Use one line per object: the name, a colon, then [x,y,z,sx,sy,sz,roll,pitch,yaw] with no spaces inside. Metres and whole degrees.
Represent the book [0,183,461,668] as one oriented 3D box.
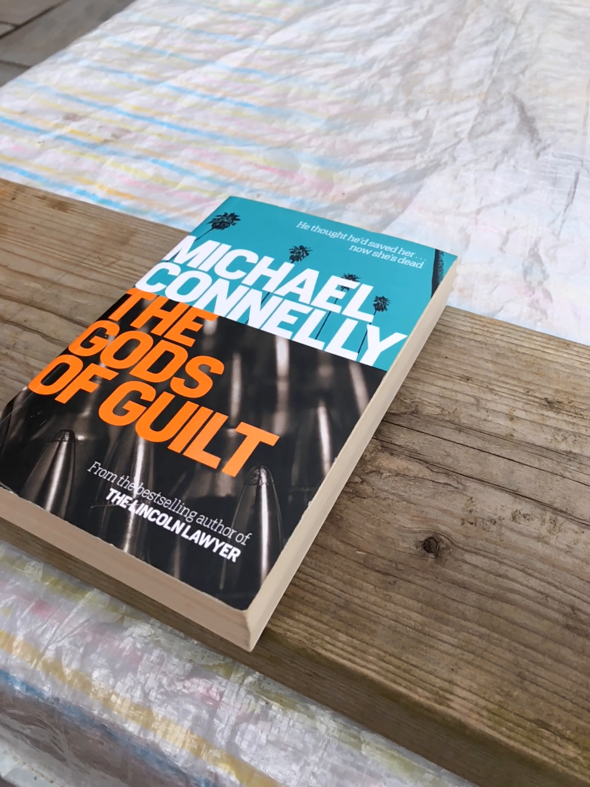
book: [-0.030,-0.011,0.288,0.140,0.040,0.201,21,51,19]
